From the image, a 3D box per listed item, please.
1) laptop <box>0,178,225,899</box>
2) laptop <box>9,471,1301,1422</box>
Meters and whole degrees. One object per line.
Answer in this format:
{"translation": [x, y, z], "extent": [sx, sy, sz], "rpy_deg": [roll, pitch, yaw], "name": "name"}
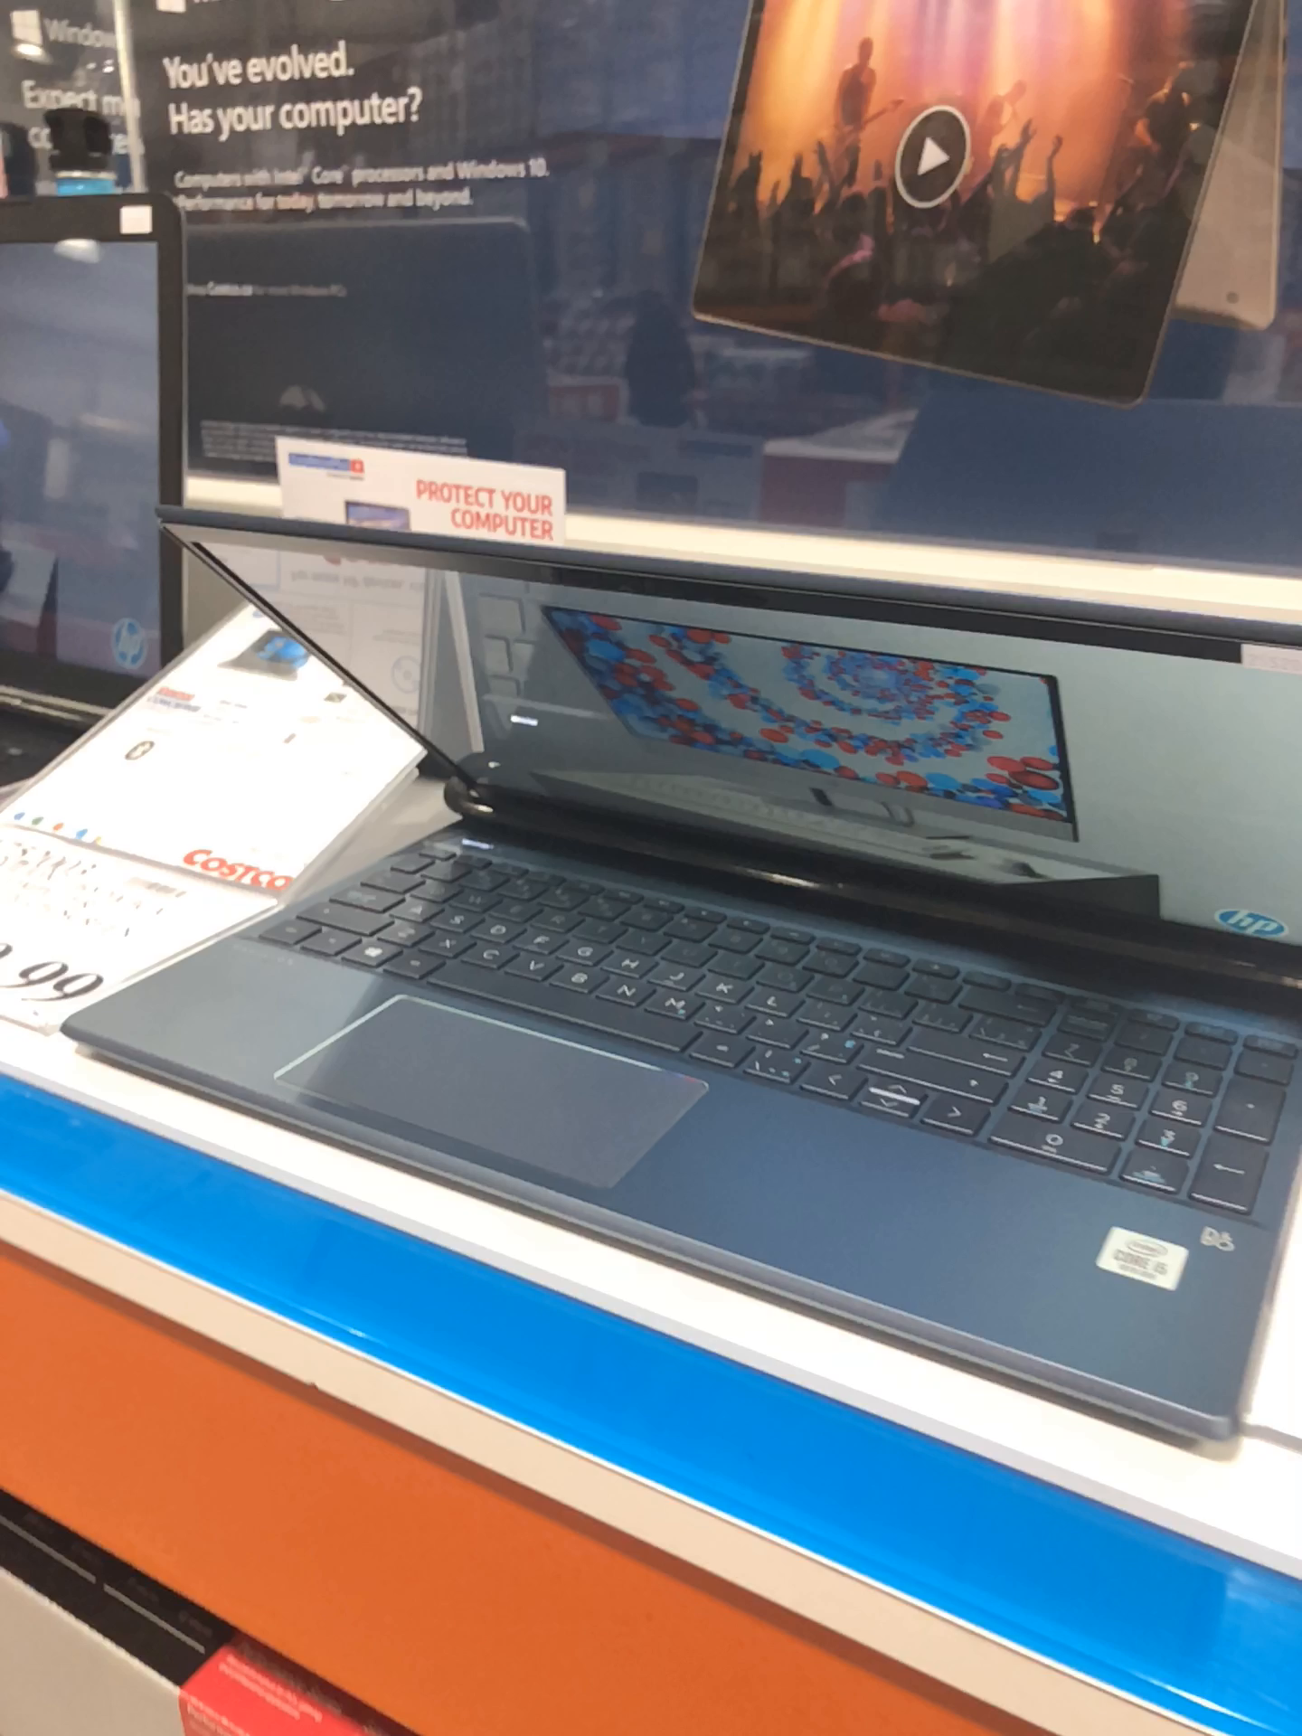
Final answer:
{"translation": [-0.428, -0.183, 0.660], "extent": [0.343, 0.227, 0.288], "rpy_deg": [12, 26, 26], "name": "laptop"}
{"translation": [0.022, -0.023, 0.441], "extent": [0.347, 0.149, 0.218], "rpy_deg": [12, 25, 28], "name": "laptop"}
